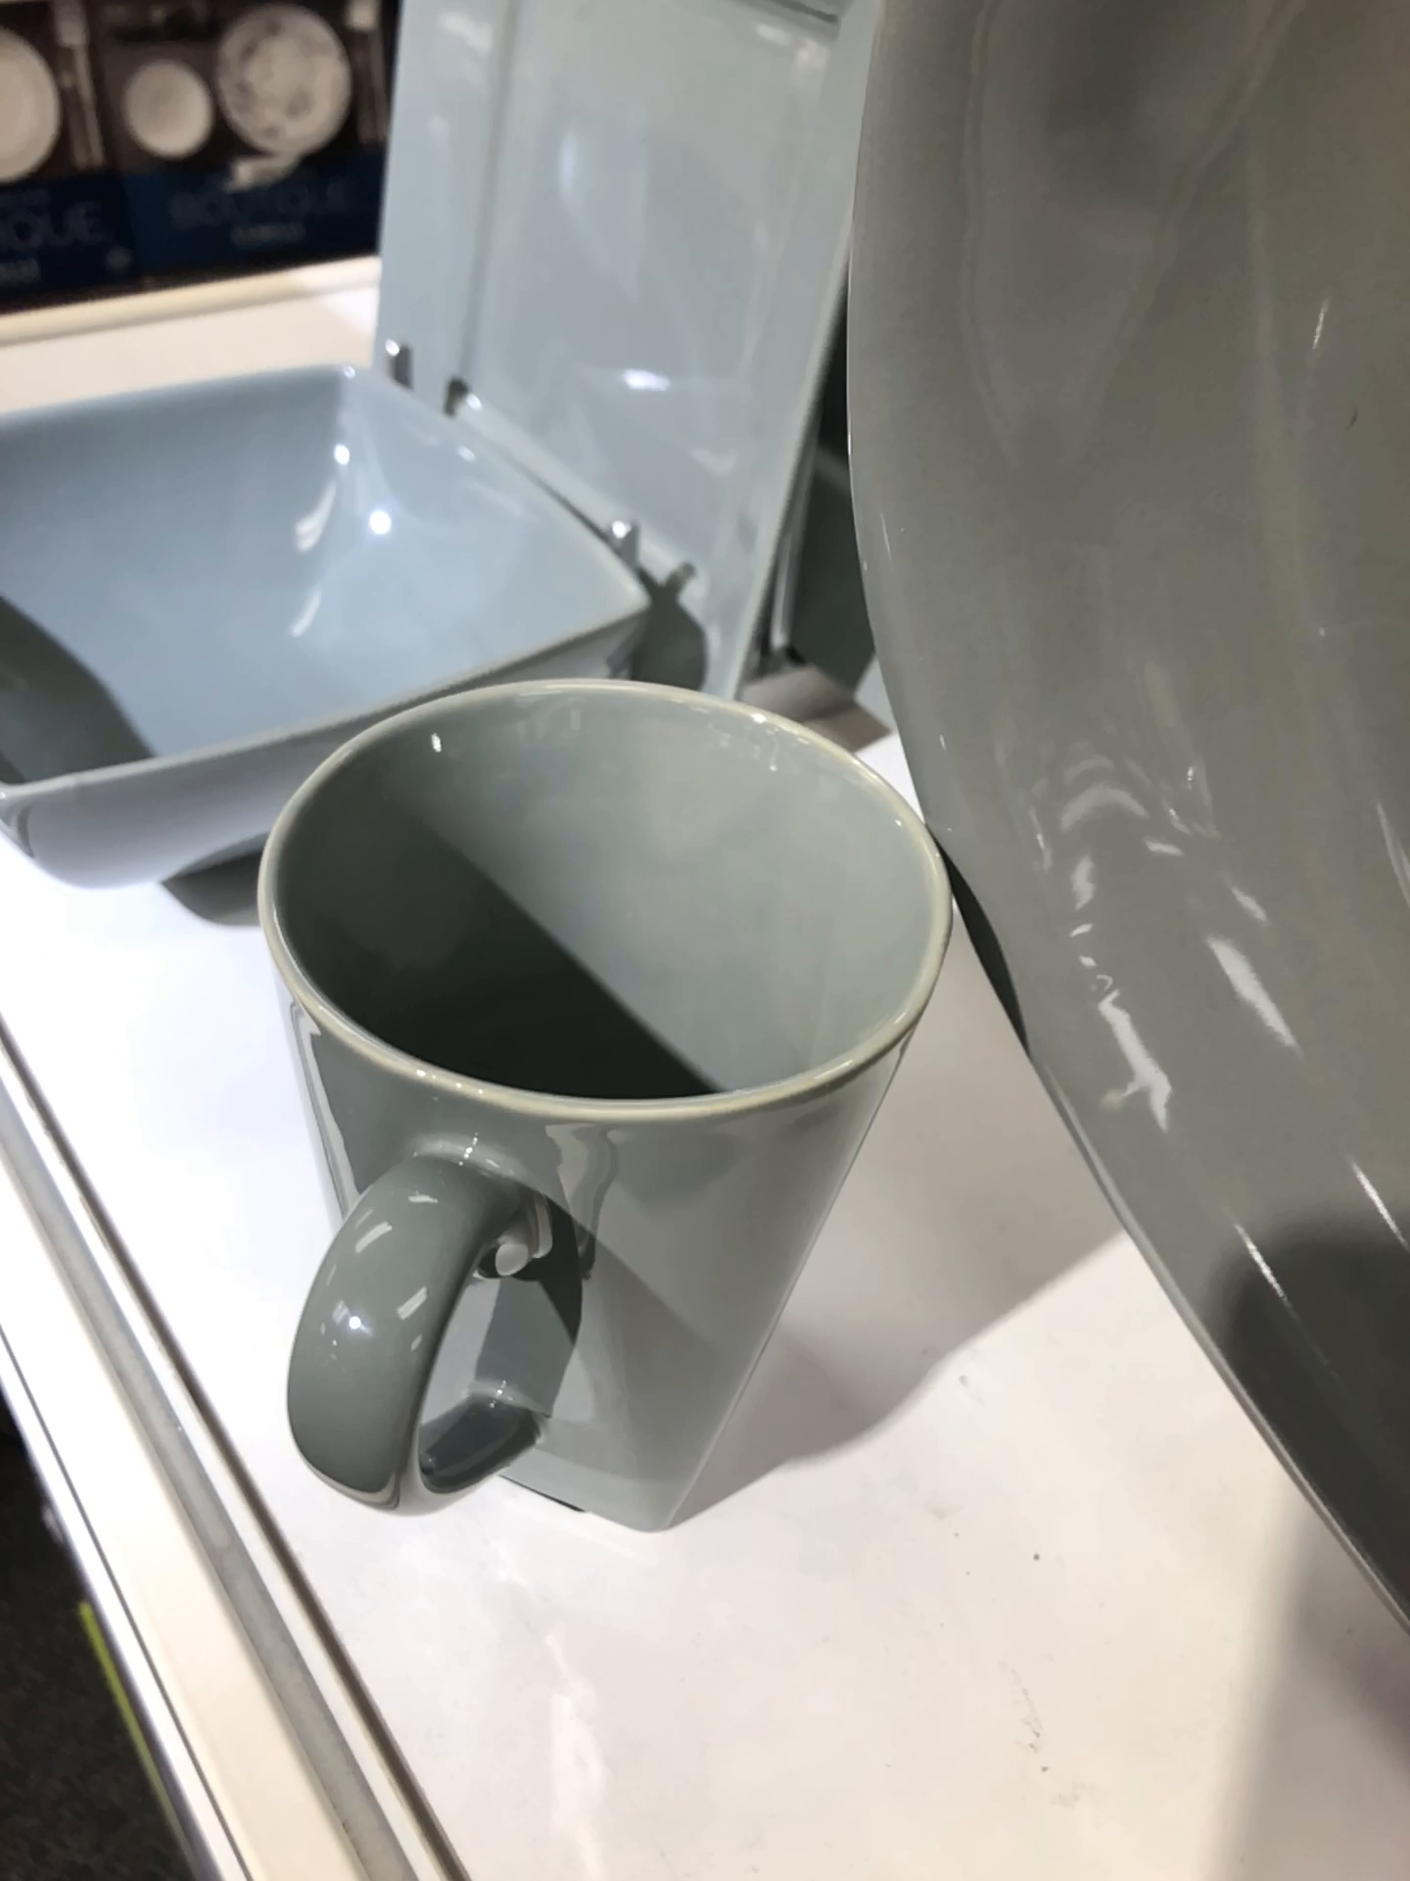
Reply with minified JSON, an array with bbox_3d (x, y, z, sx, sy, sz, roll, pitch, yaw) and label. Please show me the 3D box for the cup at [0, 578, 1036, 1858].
[{"bbox_3d":[-0.025,0.031,0.223,0.100,0.097,0.118,17,43,13],"label":"cup"}]
